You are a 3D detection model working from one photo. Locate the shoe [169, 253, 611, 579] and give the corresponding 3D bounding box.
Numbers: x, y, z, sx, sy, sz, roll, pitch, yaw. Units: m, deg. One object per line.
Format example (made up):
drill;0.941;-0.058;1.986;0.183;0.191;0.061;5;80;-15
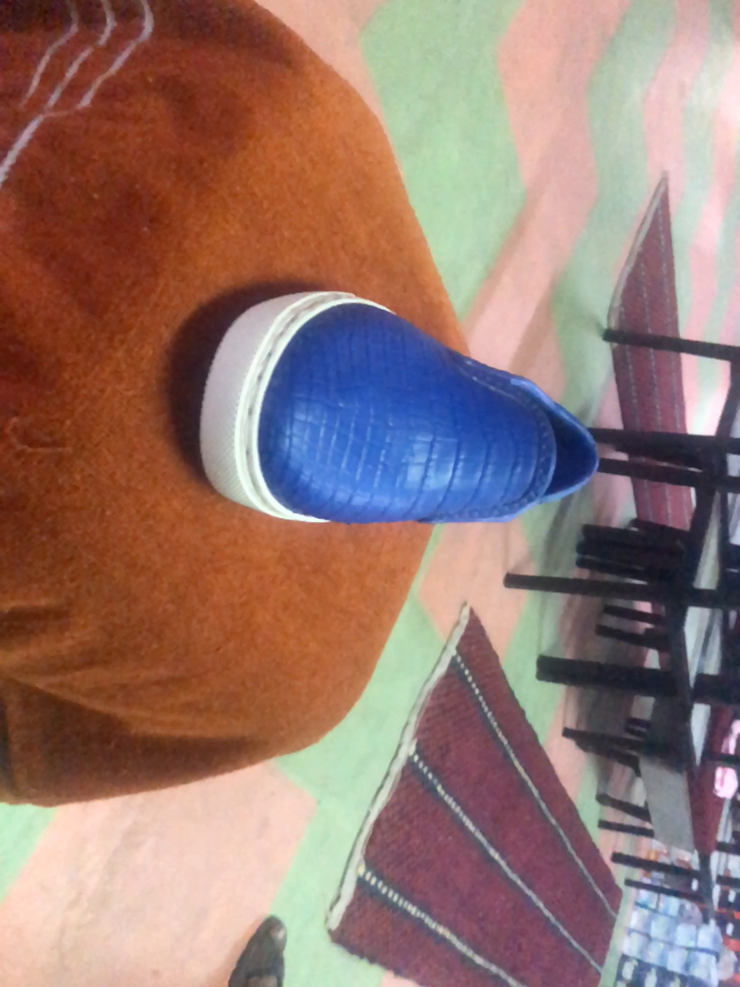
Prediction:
shoe;0.039;-0.034;0.425;0.302;0.079;0.110;-3;100;-59
